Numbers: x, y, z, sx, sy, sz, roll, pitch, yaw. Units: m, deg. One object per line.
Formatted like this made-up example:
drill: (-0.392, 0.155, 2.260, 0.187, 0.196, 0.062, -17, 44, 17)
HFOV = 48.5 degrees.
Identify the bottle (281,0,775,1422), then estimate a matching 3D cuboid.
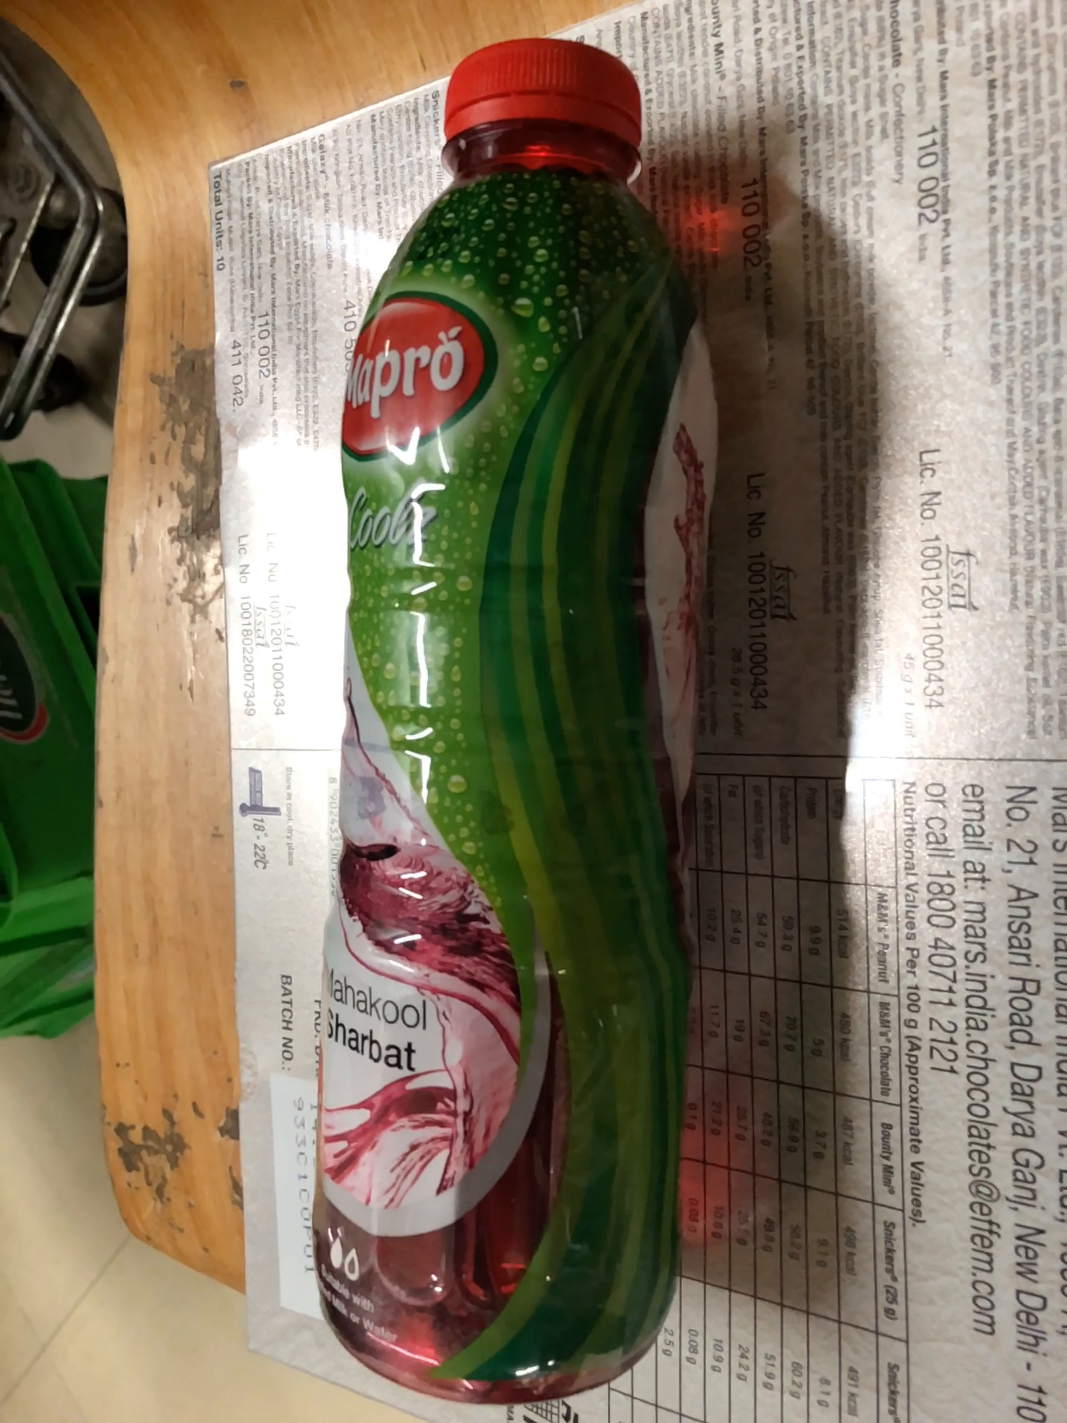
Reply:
bottle: (-0.005, 0.003, 0.250, 0.080, 0.060, 0.280, 6, 97, 46)
